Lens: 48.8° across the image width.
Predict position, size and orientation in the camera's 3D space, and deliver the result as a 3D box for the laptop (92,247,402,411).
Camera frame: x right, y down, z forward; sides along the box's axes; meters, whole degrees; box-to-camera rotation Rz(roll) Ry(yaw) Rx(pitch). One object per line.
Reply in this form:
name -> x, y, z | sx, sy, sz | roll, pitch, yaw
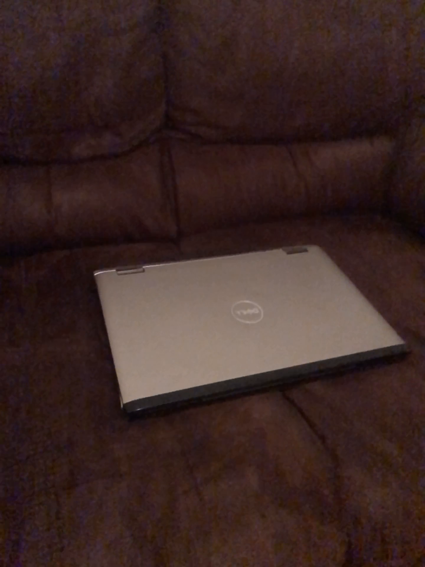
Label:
laptop -> 0.038, 0.037, 0.665 | 0.370, 0.002, 0.261 | -8, 39, -20
